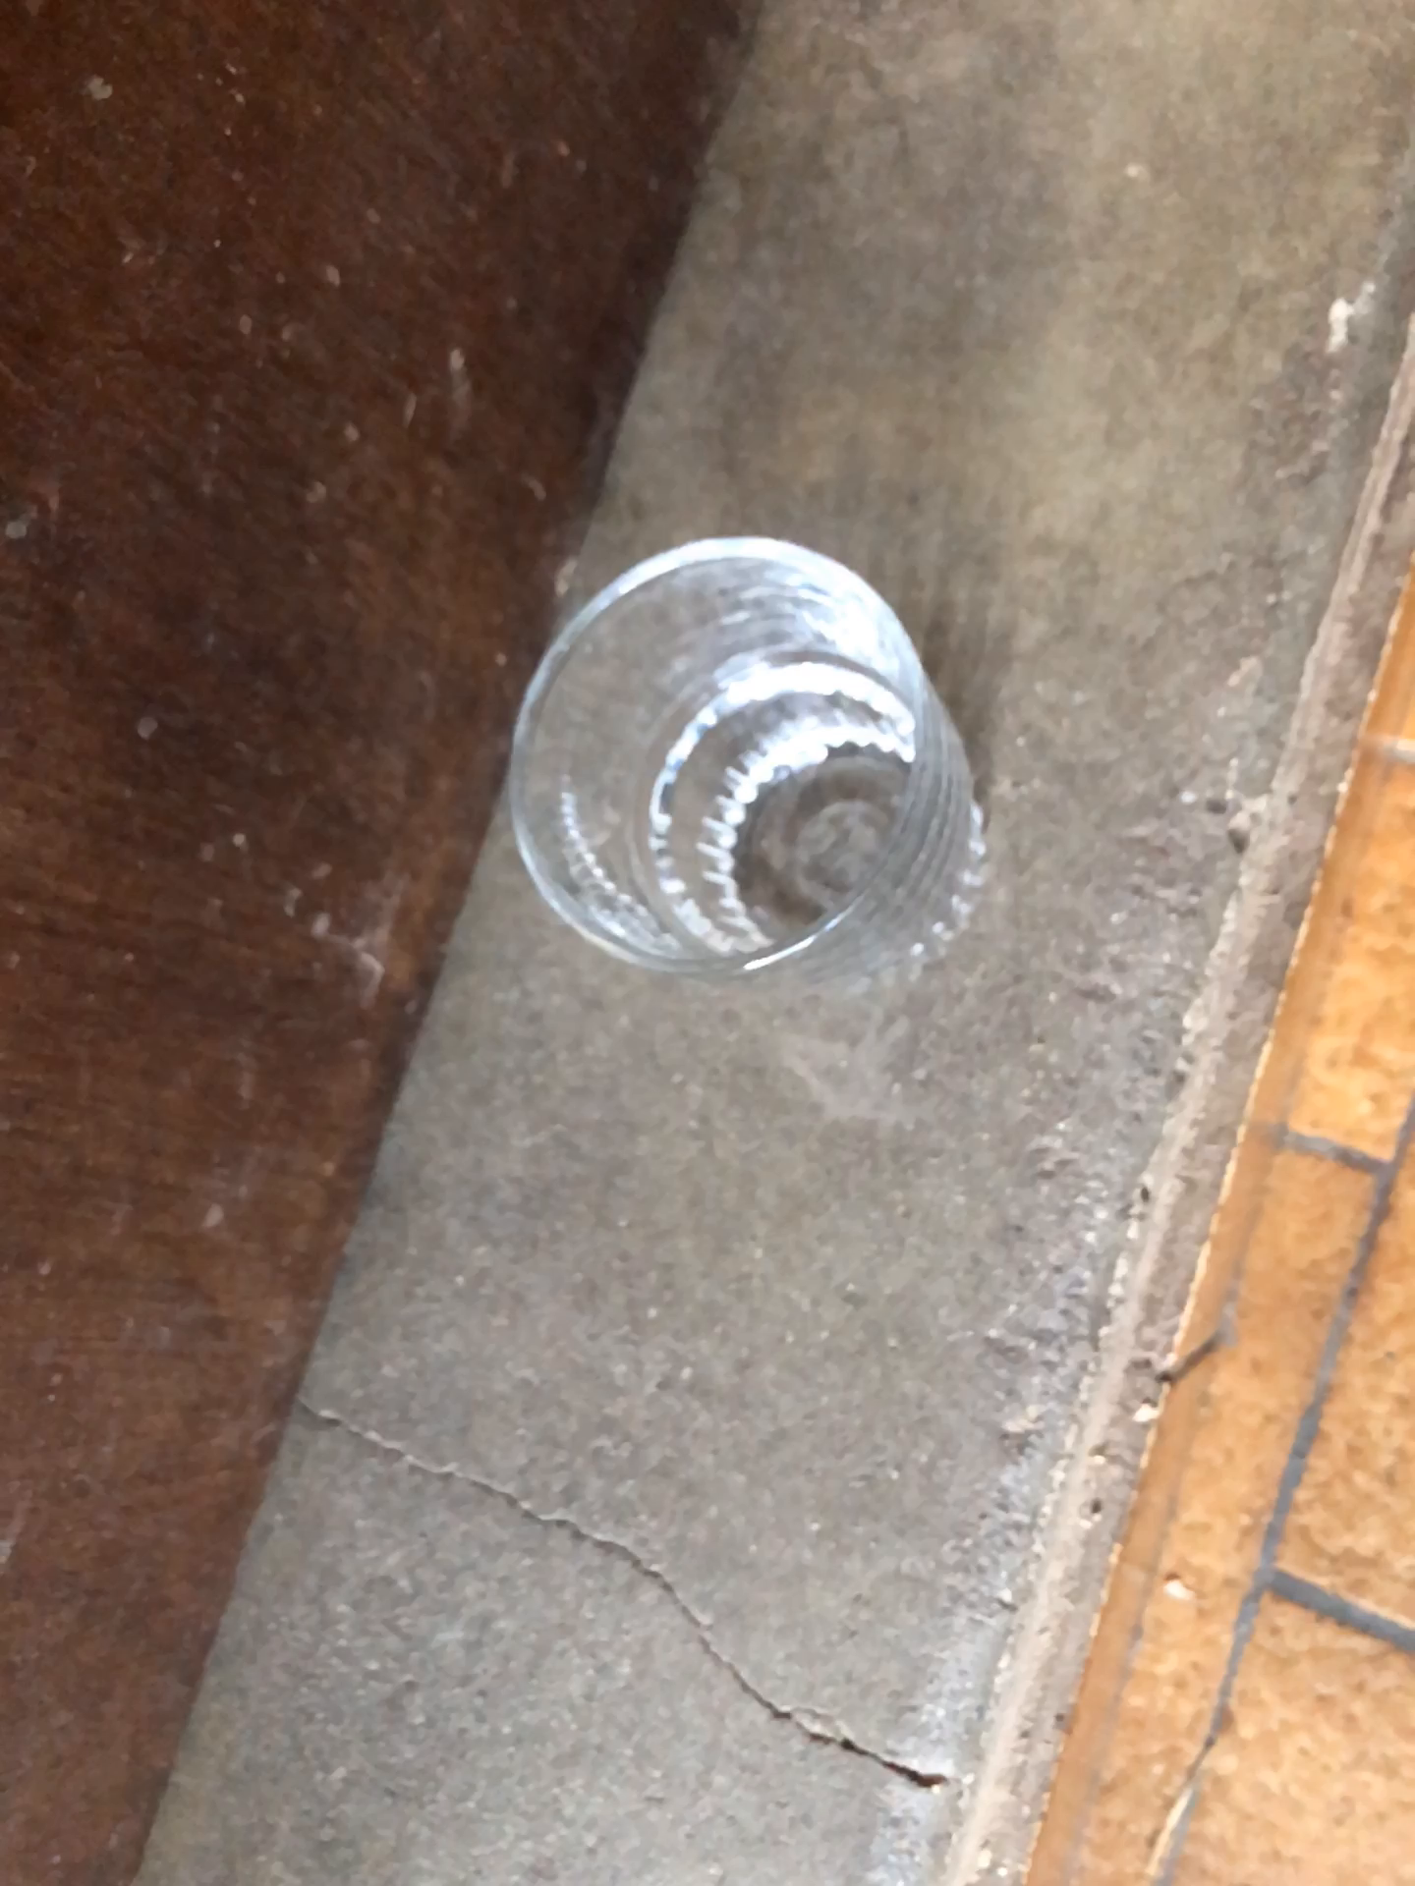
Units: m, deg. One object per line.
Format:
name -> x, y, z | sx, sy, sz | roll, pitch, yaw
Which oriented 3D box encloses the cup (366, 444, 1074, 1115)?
cup -> 0.007, -0.022, 0.266 | 0.070, 0.080, 0.070 | -3, 80, 20
